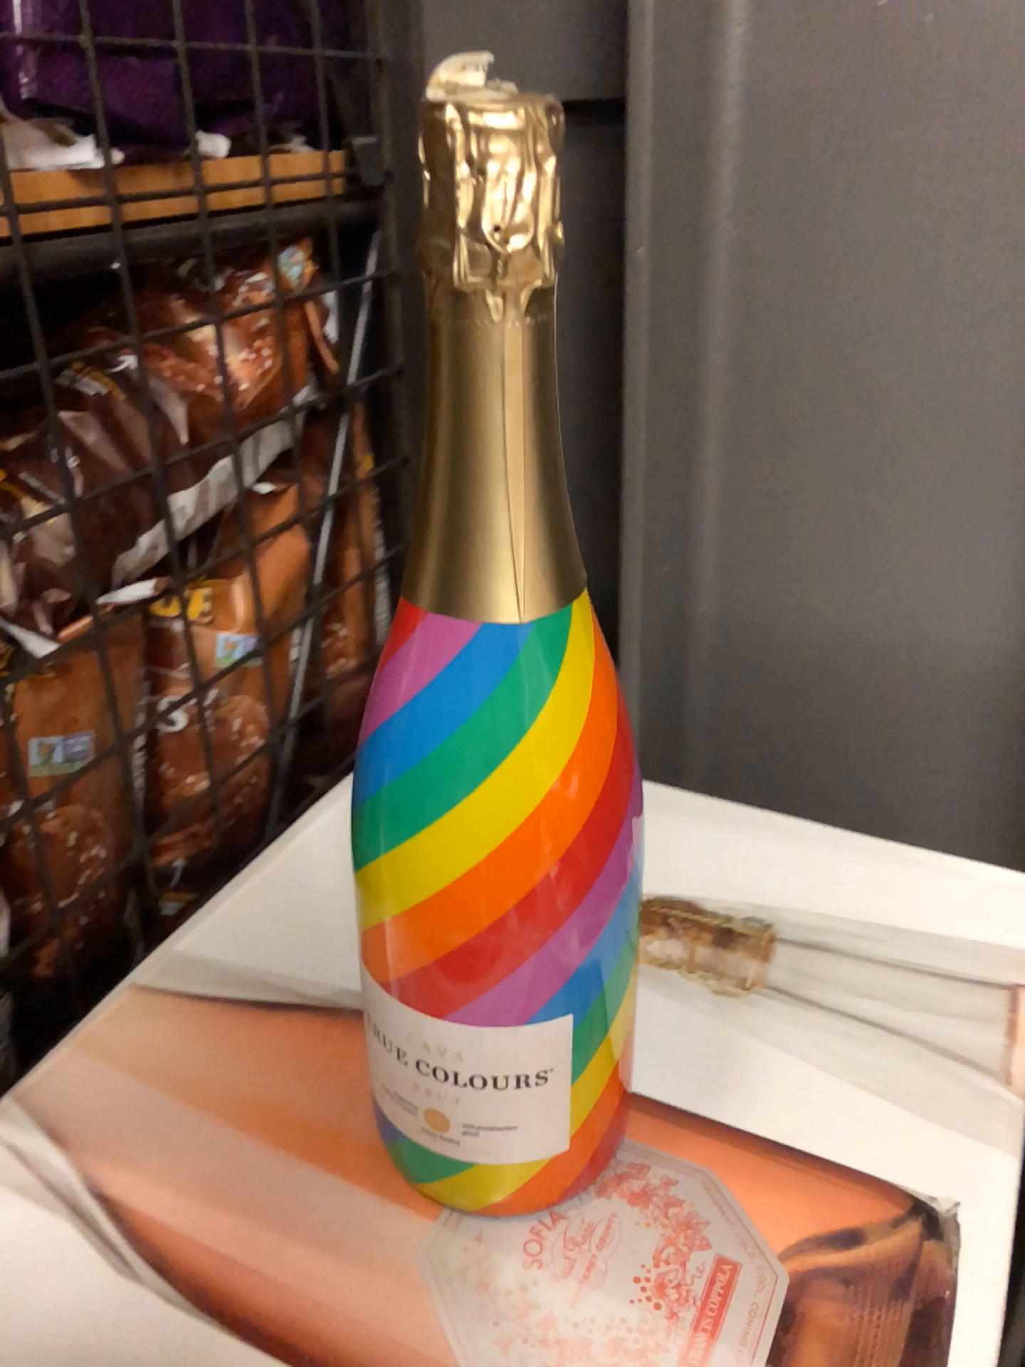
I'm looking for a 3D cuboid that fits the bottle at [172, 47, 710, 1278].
[{"bbox_3d":[-0.007,0.007,0.322,0.088,0.319,0.088,-2,25,1],"label":"bottle"}]
